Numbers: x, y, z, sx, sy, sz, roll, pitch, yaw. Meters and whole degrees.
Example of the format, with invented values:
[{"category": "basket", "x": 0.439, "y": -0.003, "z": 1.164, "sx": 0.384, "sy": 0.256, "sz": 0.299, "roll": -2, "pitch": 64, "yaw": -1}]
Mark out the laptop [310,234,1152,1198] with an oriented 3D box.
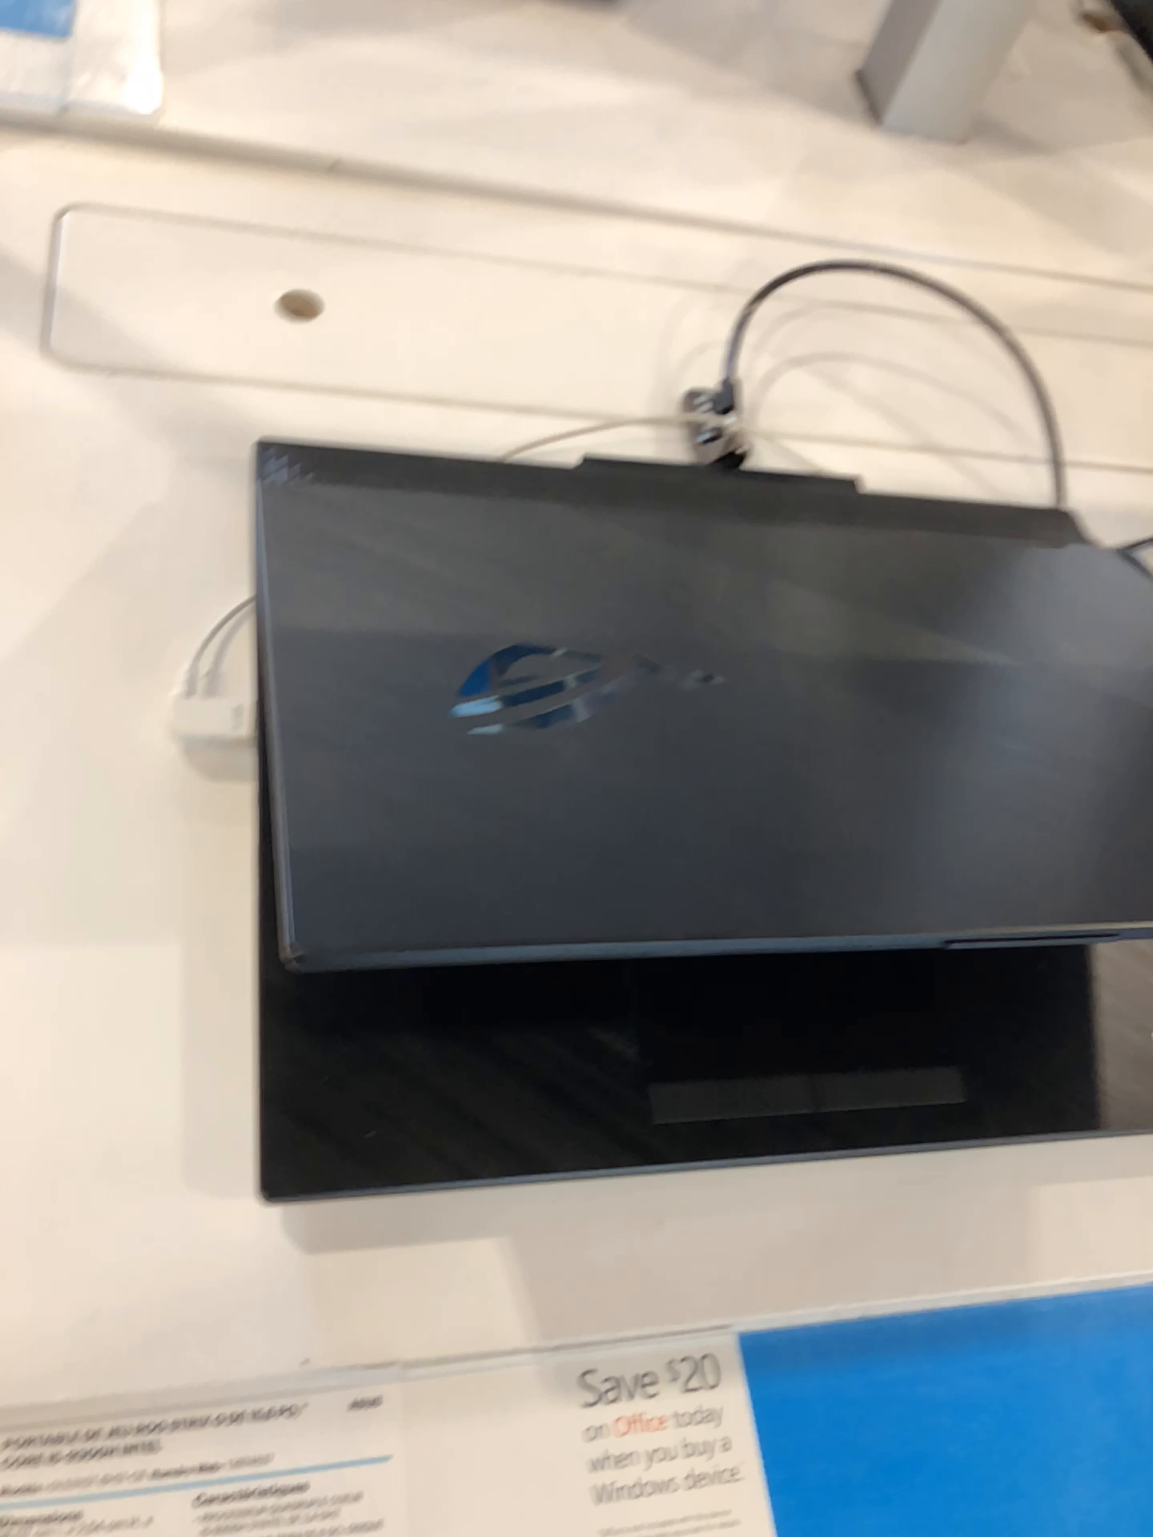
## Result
[{"category": "laptop", "x": 0.089, "y": -0.025, "z": 0.405, "sx": 0.331, "sy": 0.097, "sz": 0.263, "roll": 1, "pitch": 59, "yaw": -15}]
